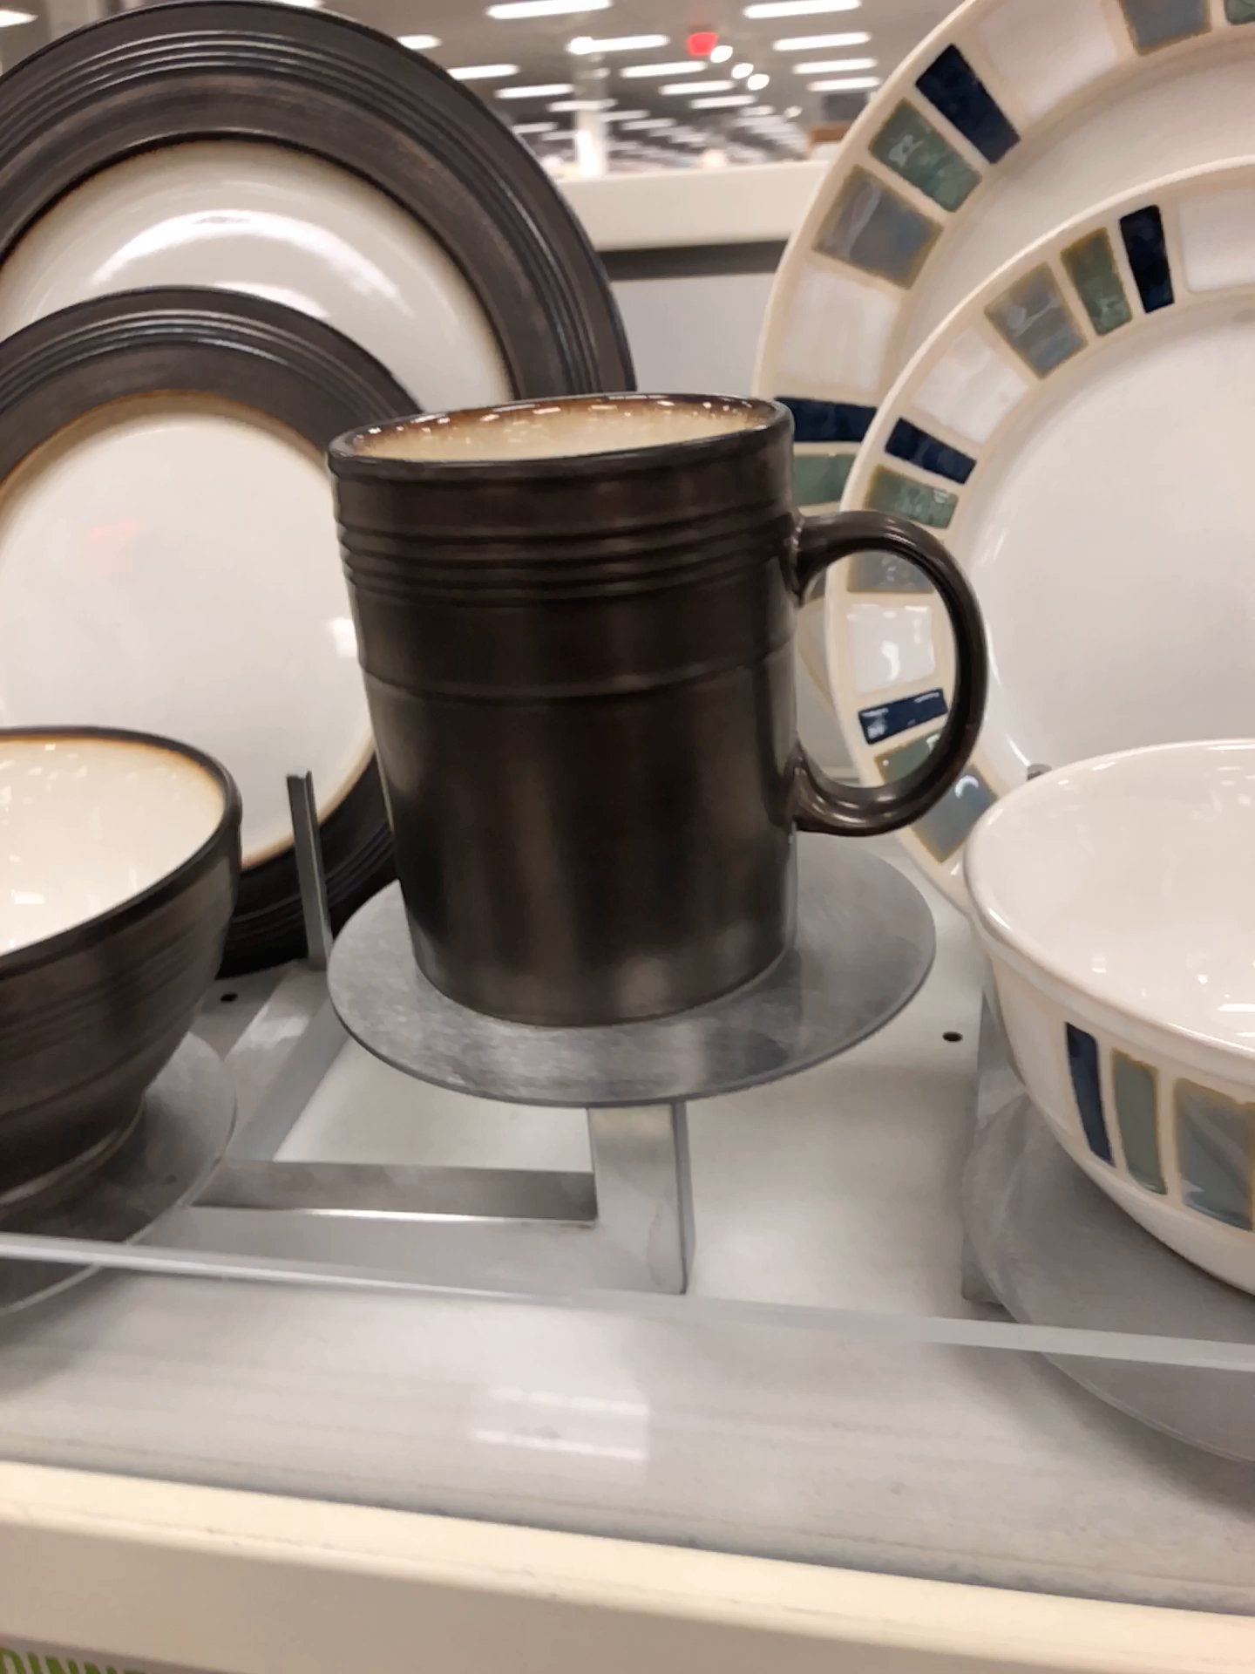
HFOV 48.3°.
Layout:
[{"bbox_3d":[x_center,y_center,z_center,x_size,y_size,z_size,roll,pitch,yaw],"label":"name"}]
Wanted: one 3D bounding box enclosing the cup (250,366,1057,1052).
[{"bbox_3d":[0.007,-0.028,0.265,0.119,0.102,0.084,-3,23,2],"label":"cup"}]
